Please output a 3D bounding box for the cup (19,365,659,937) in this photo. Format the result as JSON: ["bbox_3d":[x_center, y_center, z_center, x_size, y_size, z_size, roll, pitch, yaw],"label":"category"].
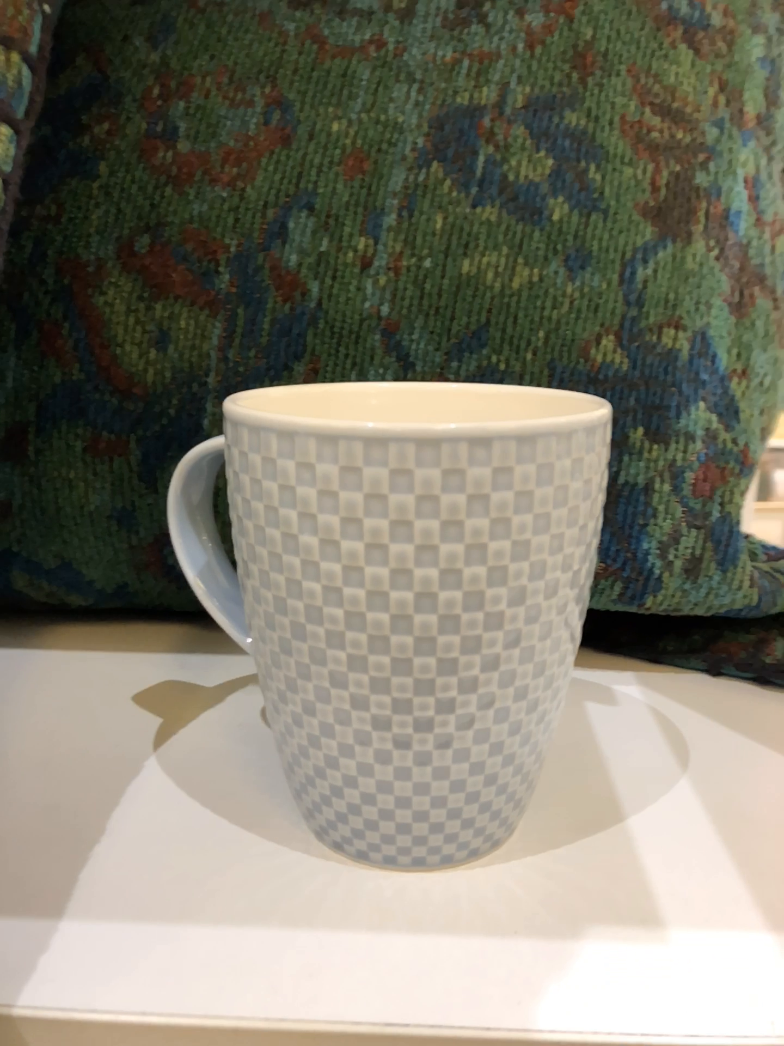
[{"bbox_3d":[-0.007,0.011,0.192,0.100,0.080,0.090,8,16,31],"label":"cup"}]
